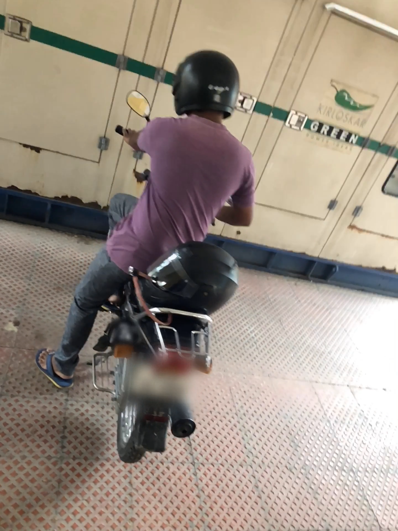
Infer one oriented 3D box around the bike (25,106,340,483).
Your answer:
[{"bbox_3d":[-0.081,0.003,2.138,0.814,0.927,1.604,16,32,-11],"label":"bike"}]
